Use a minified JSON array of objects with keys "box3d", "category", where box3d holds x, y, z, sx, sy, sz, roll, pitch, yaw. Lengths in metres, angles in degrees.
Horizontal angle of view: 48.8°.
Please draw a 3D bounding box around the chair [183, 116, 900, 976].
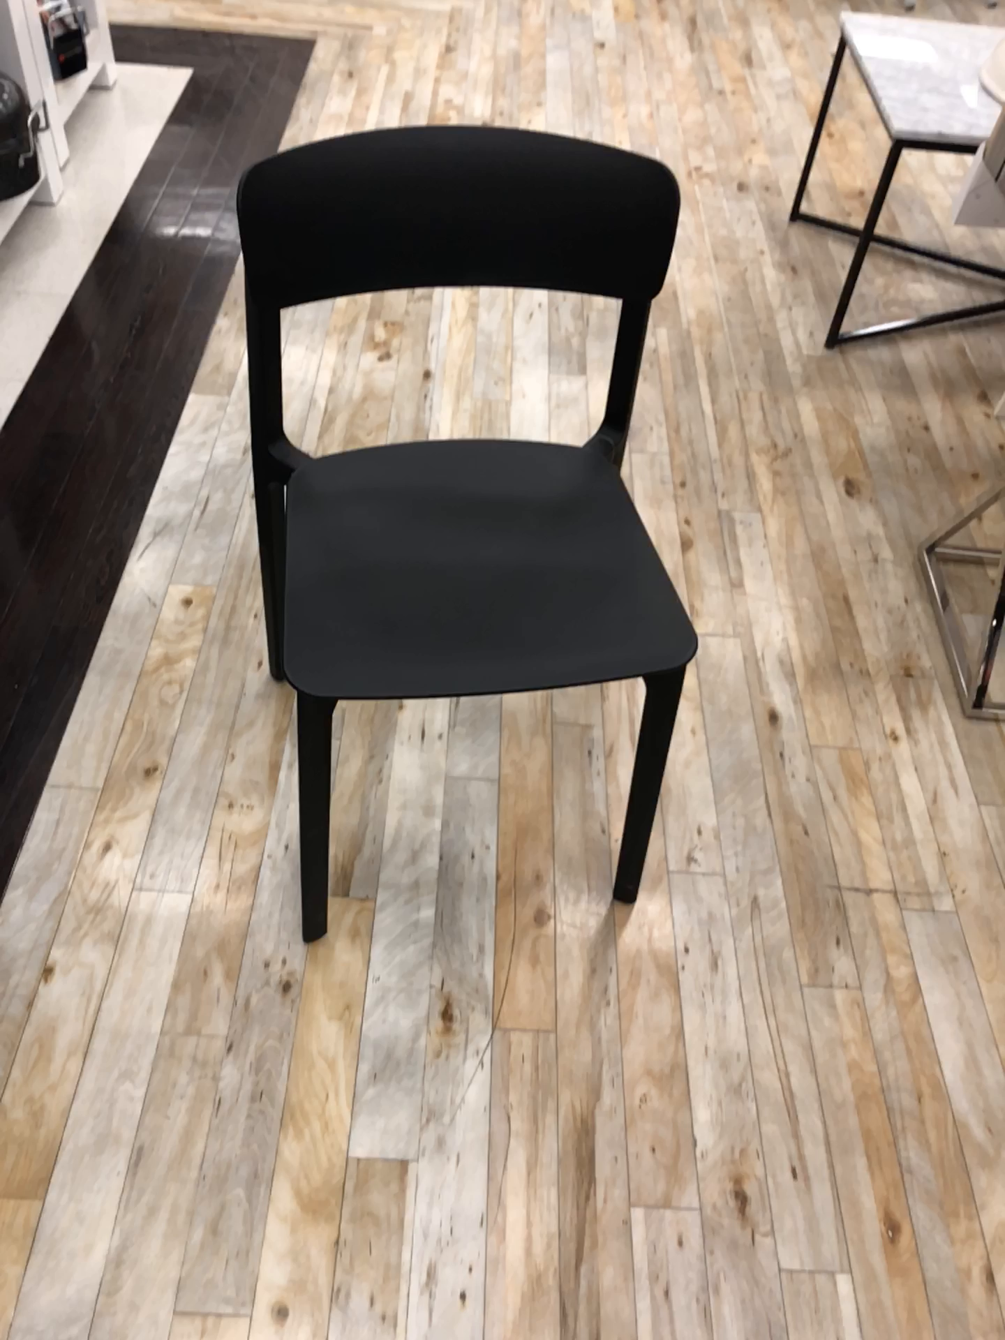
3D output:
[{"box3d":[-0.032,-0.117,1.192,0.500,0.708,0.541,-5,49,-10],"category":"chair"}]
